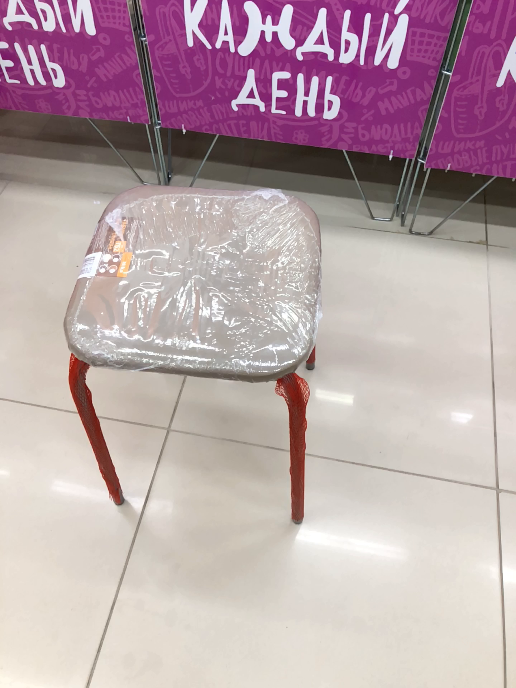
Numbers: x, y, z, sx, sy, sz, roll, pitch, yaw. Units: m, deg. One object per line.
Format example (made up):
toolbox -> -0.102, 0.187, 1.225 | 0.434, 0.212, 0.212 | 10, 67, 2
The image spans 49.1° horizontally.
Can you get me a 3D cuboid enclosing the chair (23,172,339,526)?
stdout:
chair -> -0.071, 0.031, 0.876 | 0.330, 0.437, 0.332 | 5, 56, 4
